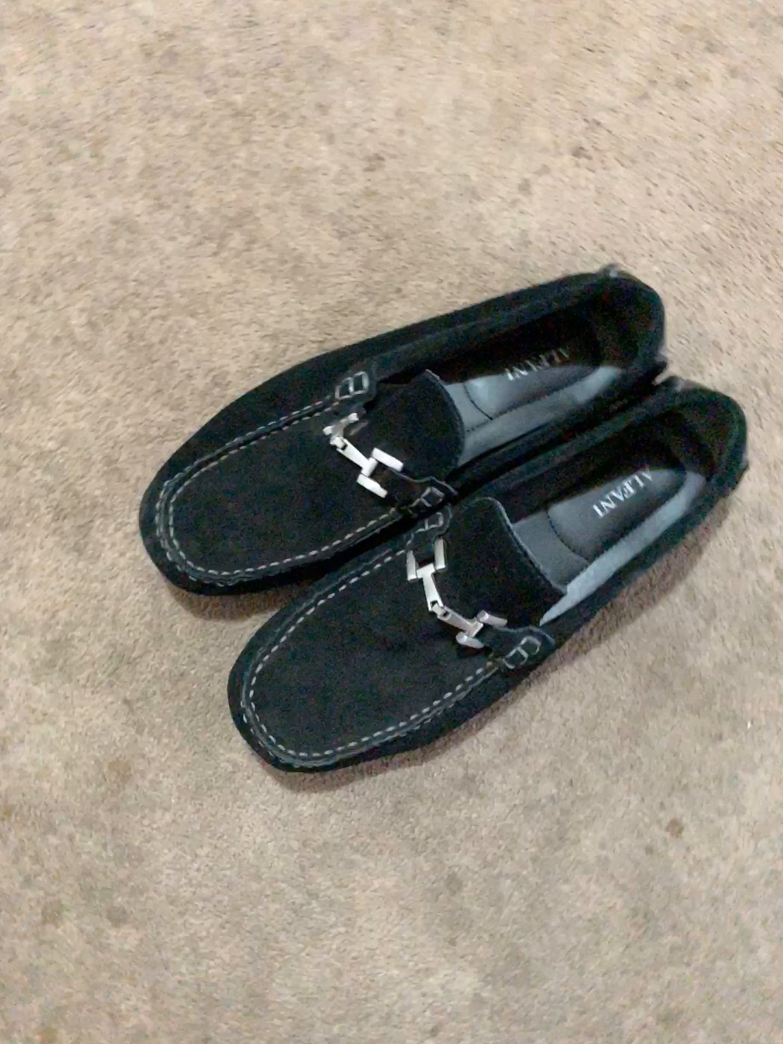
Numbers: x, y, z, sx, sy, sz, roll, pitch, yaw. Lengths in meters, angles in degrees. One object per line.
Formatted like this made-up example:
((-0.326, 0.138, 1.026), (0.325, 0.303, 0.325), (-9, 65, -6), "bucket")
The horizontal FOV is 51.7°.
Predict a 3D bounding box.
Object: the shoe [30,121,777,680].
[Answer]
((0.010, -0.051, 0.380), (0.300, 0.100, 0.100), (-31, 83, -9), "shoe")

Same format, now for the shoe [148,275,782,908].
((0.054, 0.025, 0.376), (0.300, 0.100, 0.100), (-35, 84, -10), "shoe")
